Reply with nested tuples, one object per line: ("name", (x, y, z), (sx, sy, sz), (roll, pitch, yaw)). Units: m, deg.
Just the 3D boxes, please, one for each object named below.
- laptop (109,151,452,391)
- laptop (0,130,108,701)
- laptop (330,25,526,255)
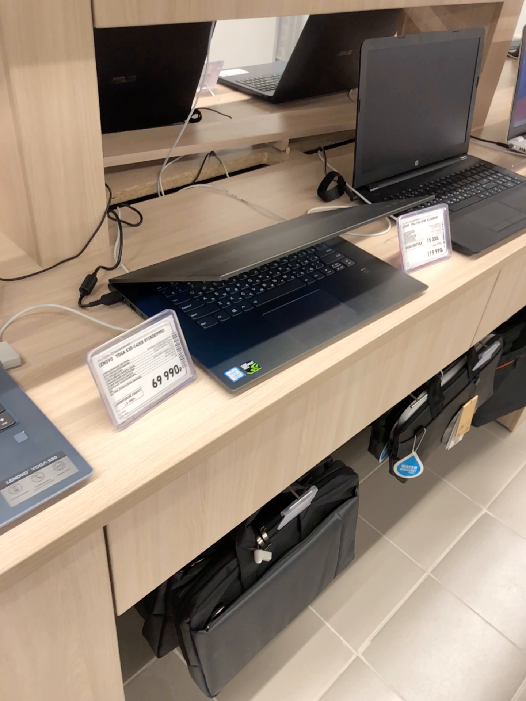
("laptop", (0.029, -0.131, 0.752), (0.363, 0.118, 0.243), (-26, 50, -36))
("laptop", (-0.387, 0.006, 0.437), (0.343, 0.201, 0.355), (35, 45, 31))
("laptop", (0.390, -0.404, 1.049), (0.403, 0.240, 0.304), (-28, 52, -37))
